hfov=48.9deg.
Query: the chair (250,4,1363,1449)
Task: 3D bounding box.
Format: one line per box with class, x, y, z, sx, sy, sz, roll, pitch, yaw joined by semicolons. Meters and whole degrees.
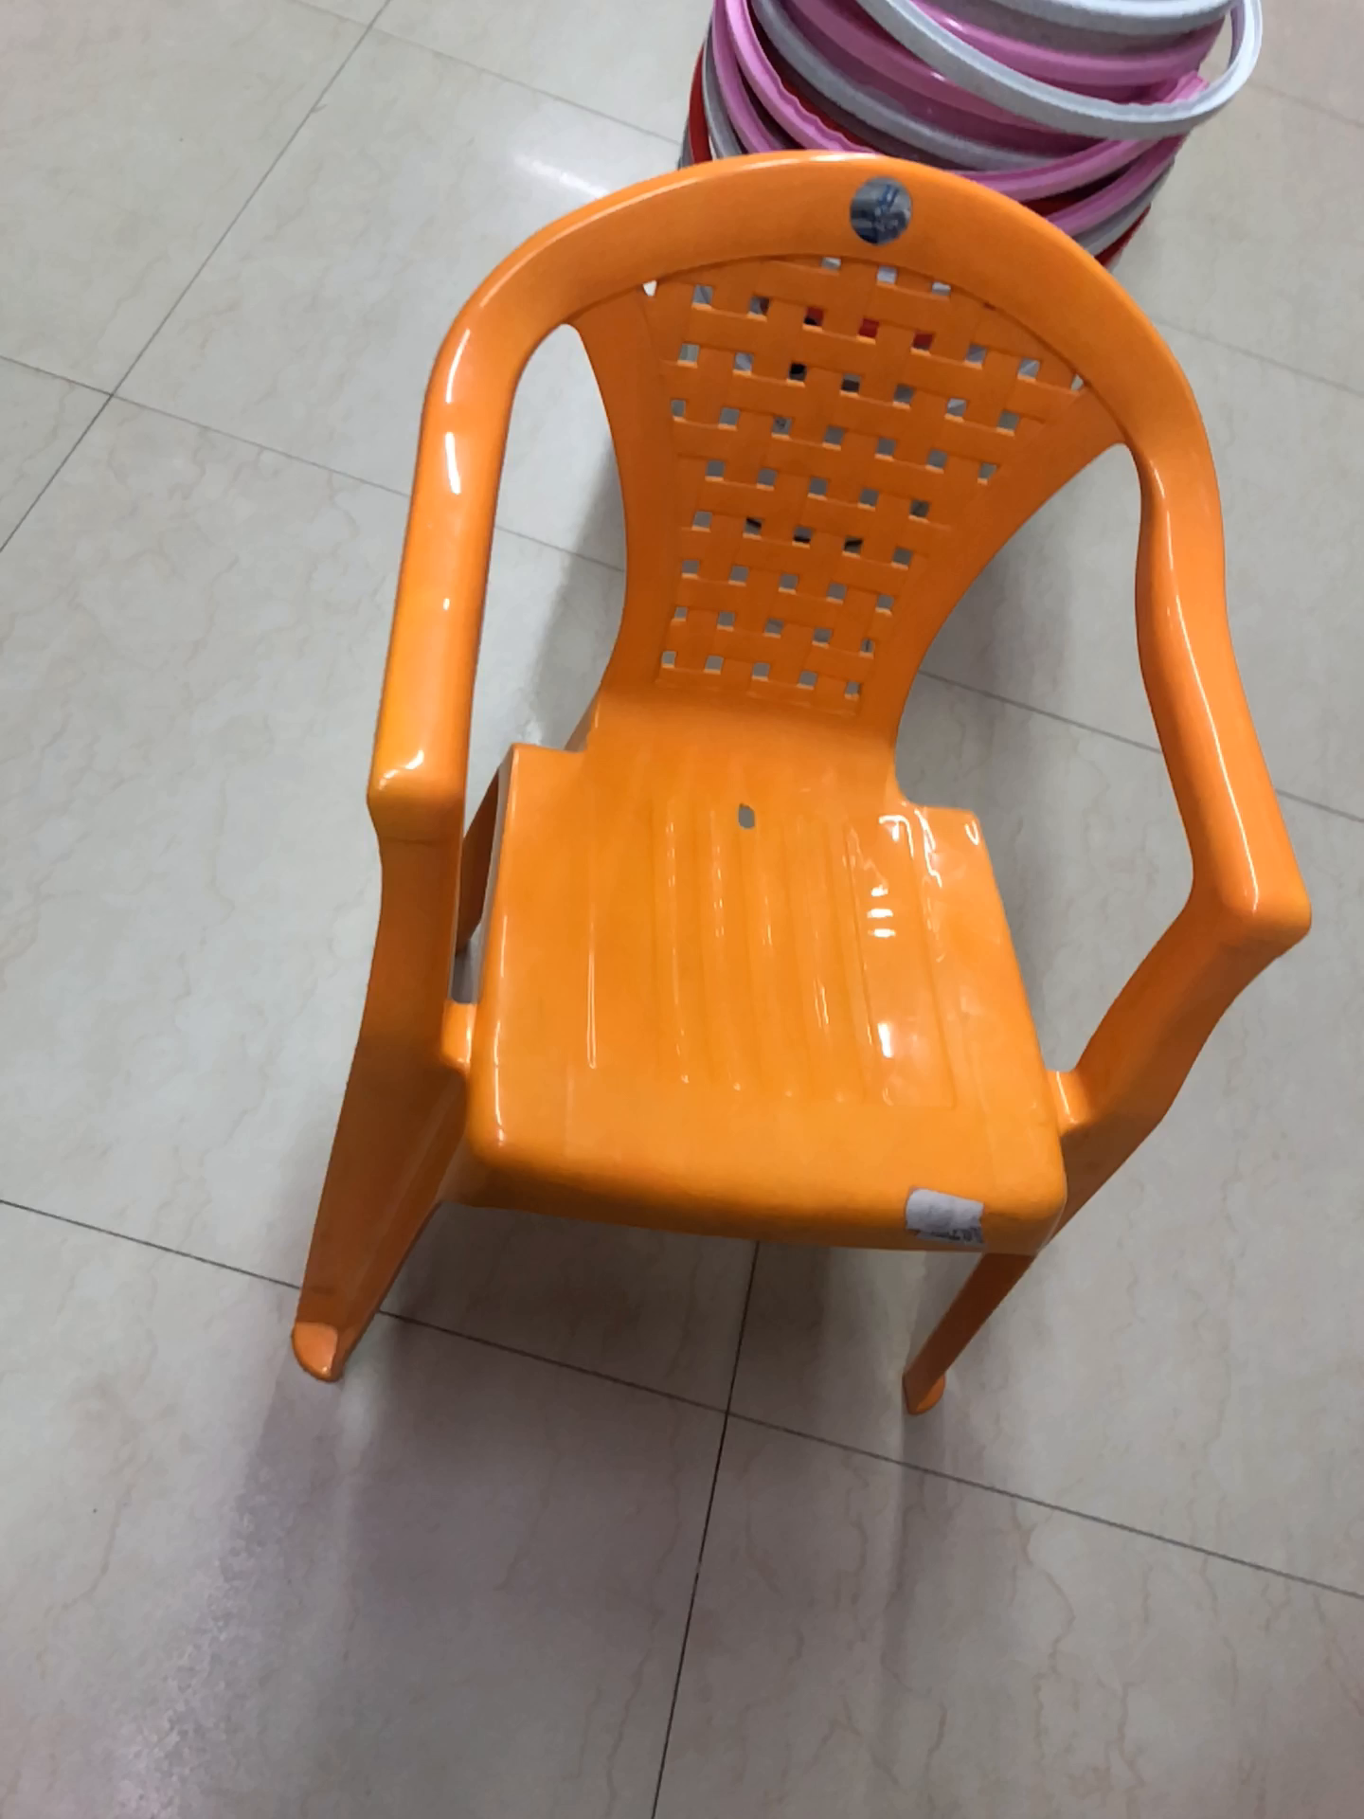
chair;0.036;-0.029;0.692;0.390;0.467;0.402;8;56;-11
